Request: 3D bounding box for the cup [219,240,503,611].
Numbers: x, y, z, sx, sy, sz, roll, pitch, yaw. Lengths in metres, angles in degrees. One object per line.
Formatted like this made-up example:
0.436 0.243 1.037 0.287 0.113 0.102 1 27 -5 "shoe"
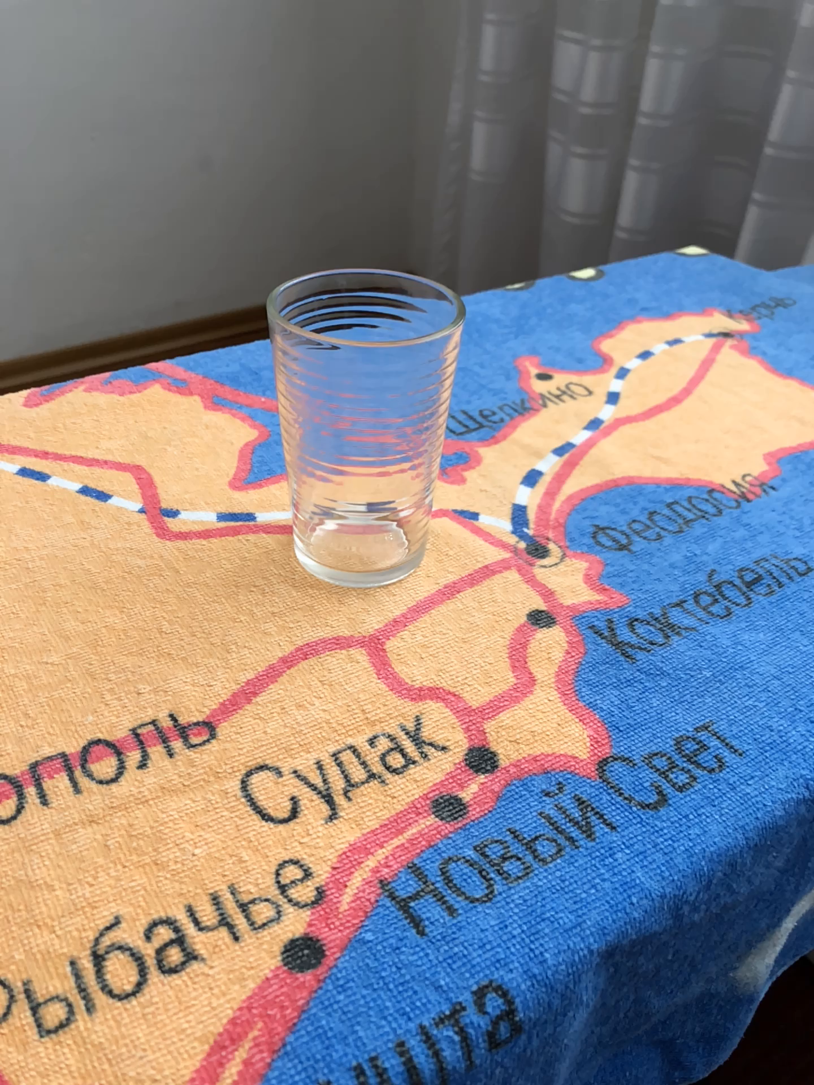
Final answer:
-0.018 -0.044 0.326 0.068 0.099 0.070 1 37 -1 "cup"
